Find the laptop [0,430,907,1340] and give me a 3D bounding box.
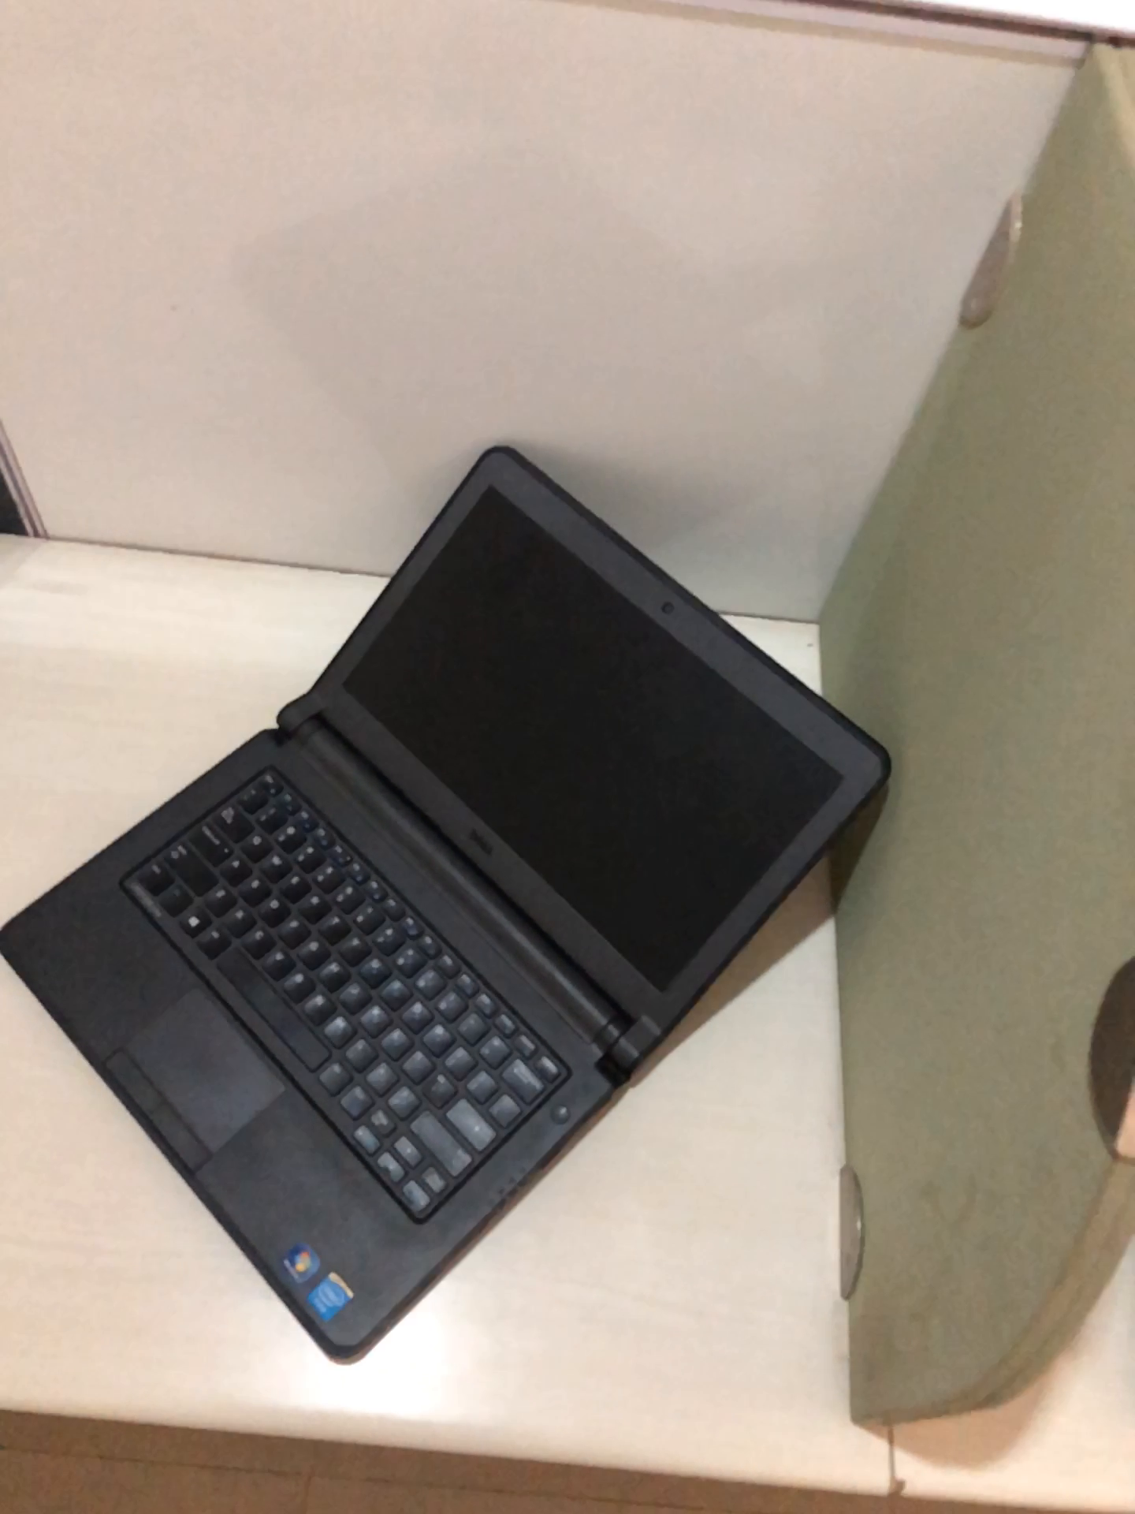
[{"bbox_3d":[-0.074,0.047,0.693,0.395,0.128,0.309,-40,69,-21],"label":"laptop"}]
